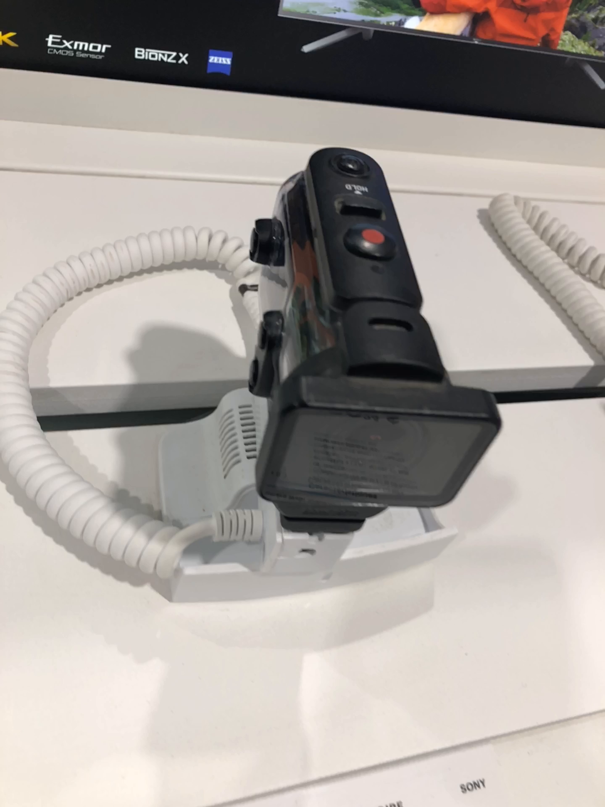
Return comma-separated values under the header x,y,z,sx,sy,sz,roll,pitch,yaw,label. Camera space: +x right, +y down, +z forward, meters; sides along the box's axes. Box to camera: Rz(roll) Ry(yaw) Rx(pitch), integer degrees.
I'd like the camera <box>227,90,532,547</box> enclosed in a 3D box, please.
x,y,z,sx,sy,sz,roll,pitch,yaw,label
0.009,-0.018,0.166,0.045,0.064,0.088,3,59,-14,camera
